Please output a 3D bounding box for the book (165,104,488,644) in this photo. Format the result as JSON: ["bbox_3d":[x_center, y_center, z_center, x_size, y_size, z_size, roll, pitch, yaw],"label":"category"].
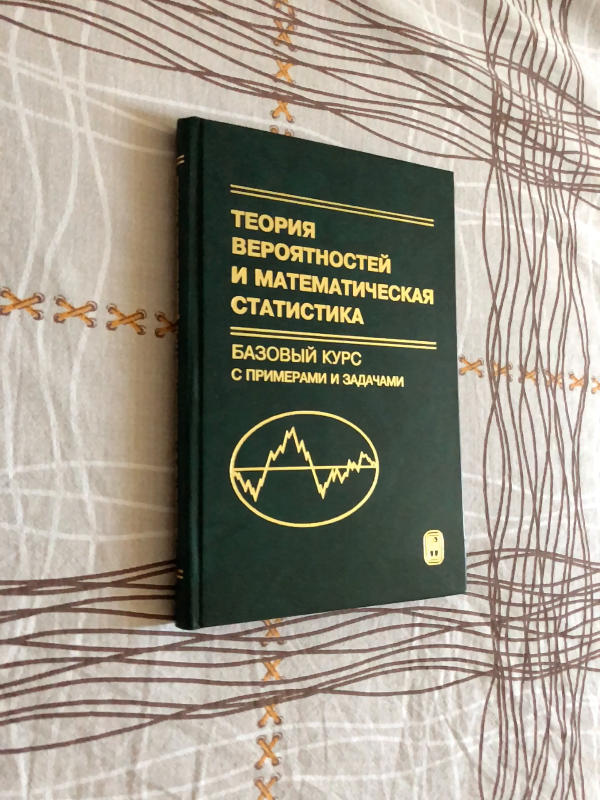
[{"bbox_3d":[0.016,-0.011,0.310,0.150,0.030,0.217,2,85,-26],"label":"book"}]
